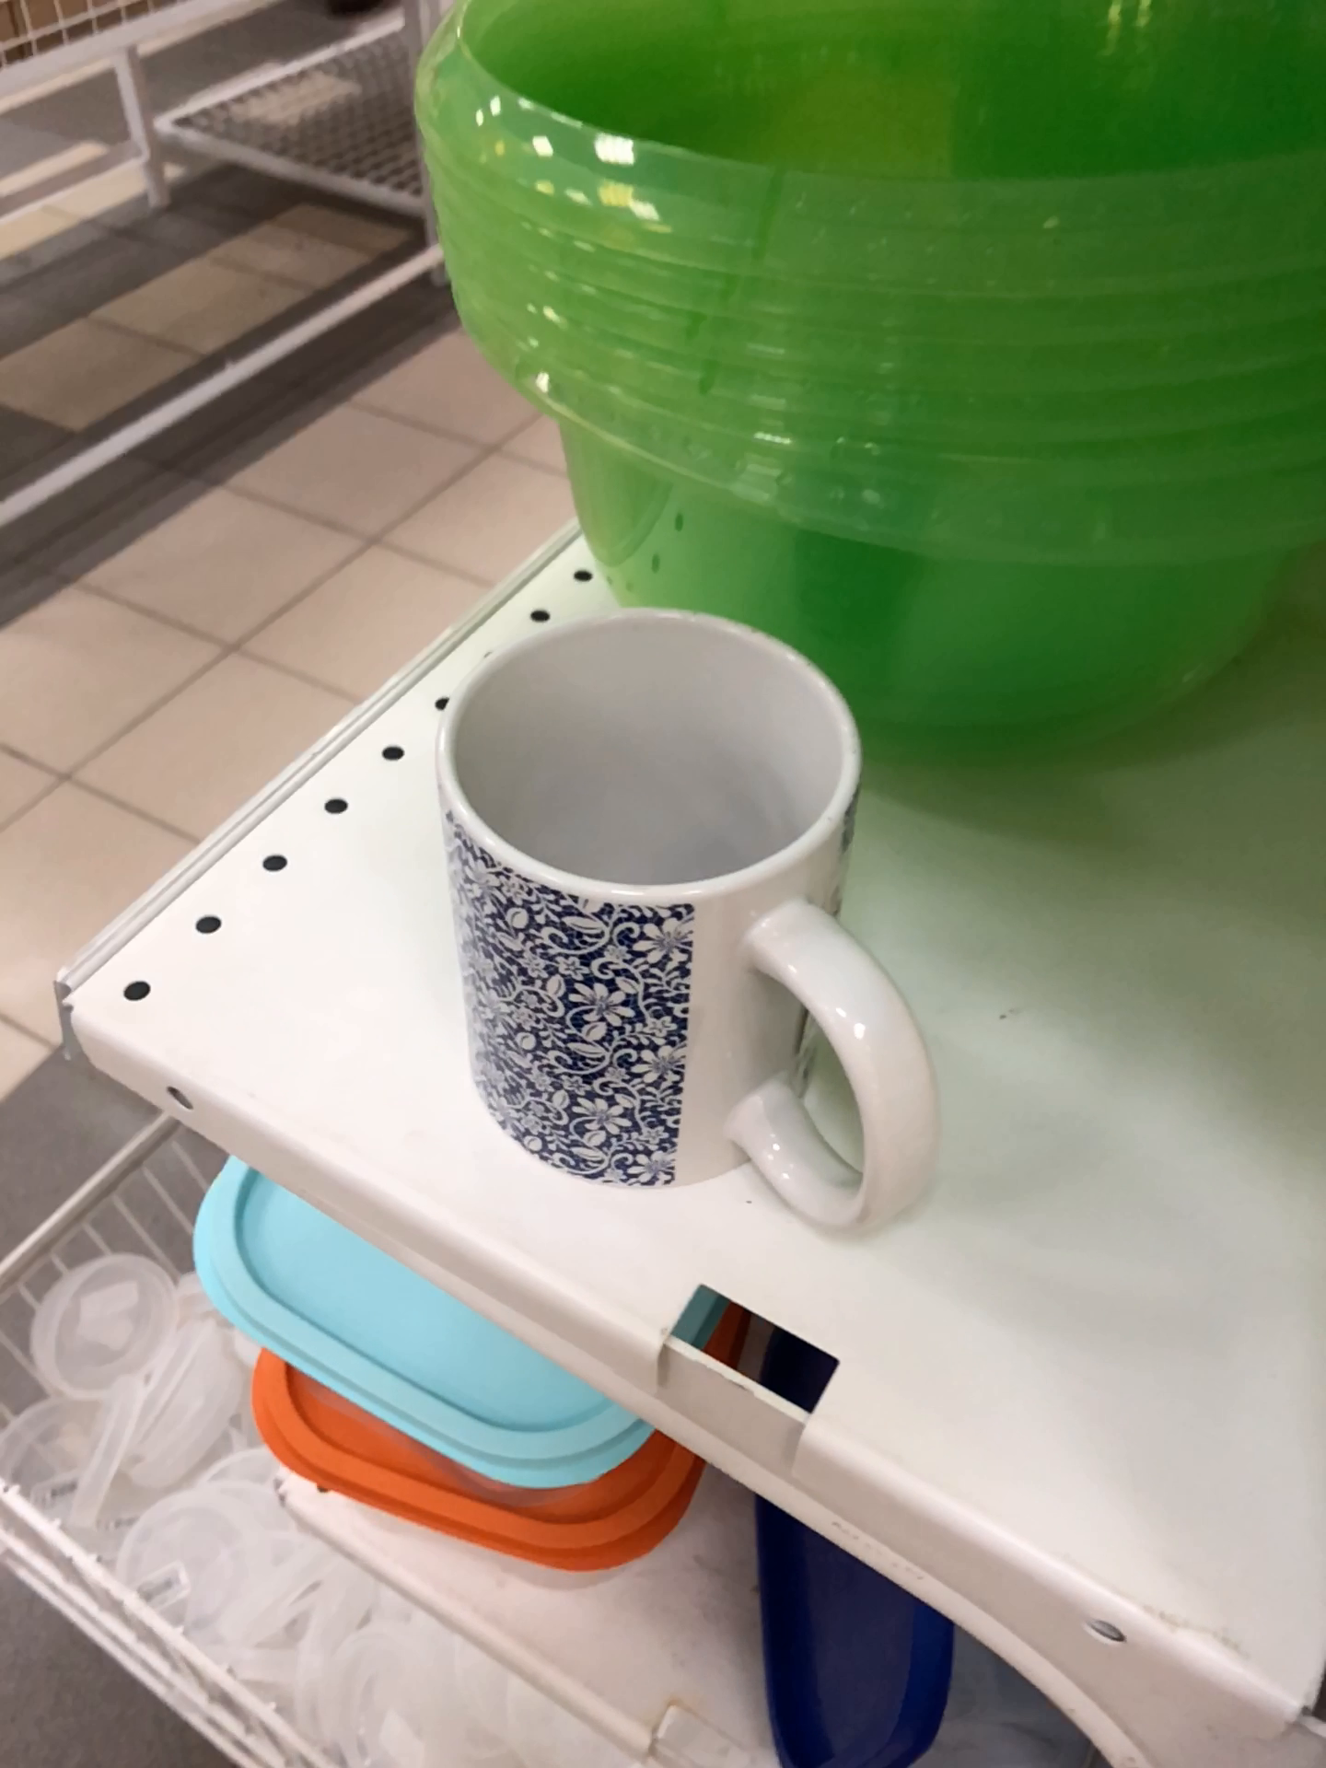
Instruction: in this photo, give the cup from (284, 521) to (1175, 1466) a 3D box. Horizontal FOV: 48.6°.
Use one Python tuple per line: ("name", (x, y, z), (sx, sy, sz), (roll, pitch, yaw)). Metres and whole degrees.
("cup", (0.006, 0.015, 0.300), (0.098, 0.098, 0.138), (-27, 52, -24))
